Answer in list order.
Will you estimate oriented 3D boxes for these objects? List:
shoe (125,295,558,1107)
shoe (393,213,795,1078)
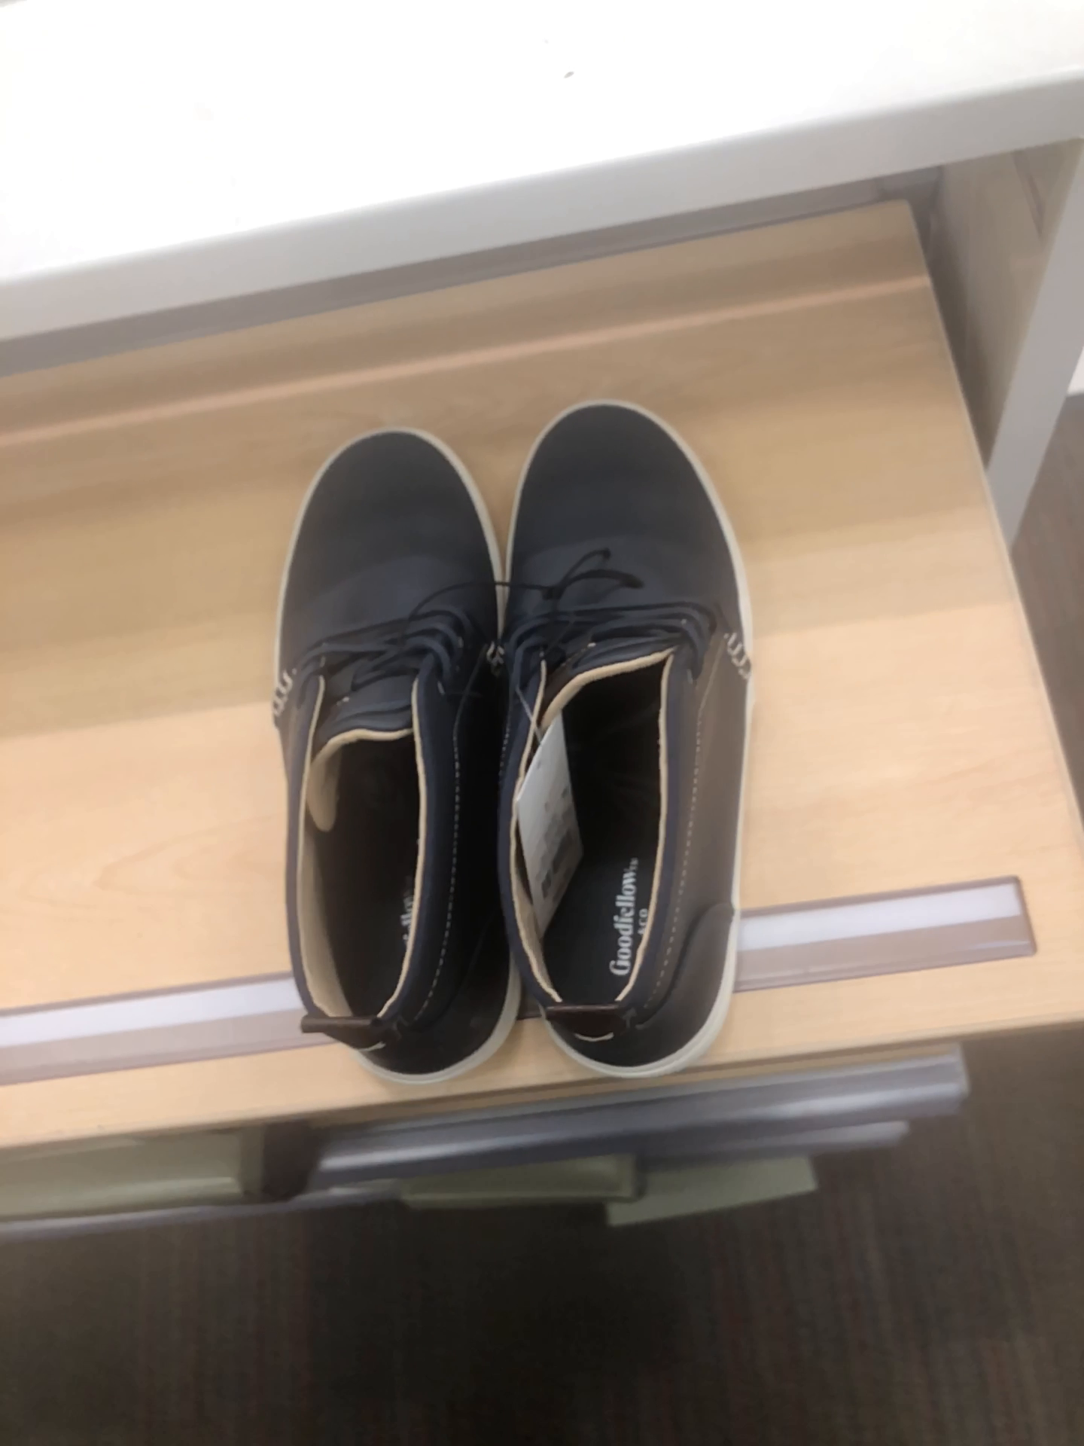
[{"bbox_3d":[-0.074,-0.005,0.443,0.109,0.115,0.258,-10,68,6],"label":"shoe"},{"bbox_3d":[0.017,-0.022,0.428,0.106,0.125,0.268,-6,68,8],"label":"shoe"}]
